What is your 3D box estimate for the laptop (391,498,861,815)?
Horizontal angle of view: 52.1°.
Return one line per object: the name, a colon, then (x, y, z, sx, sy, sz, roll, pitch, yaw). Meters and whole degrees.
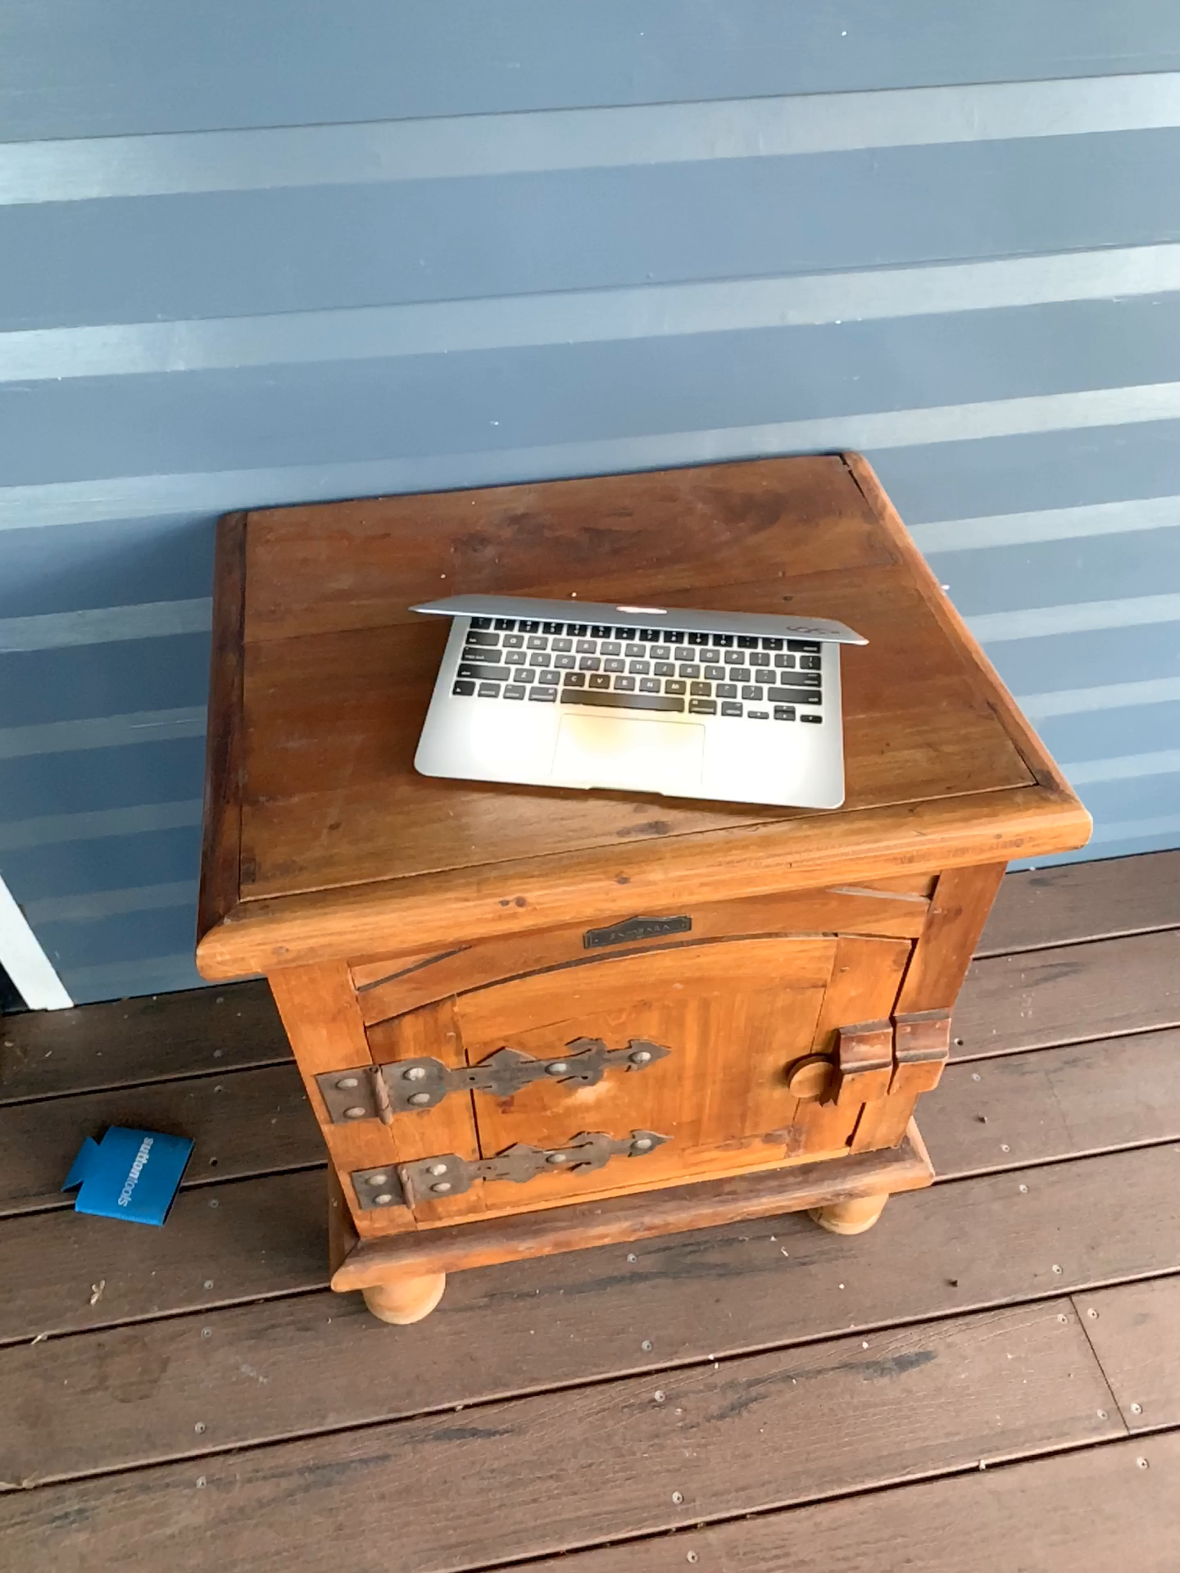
laptop: (0.031, -0.092, 0.816, 0.282, 0.099, 0.180, 4, 48, 5)
